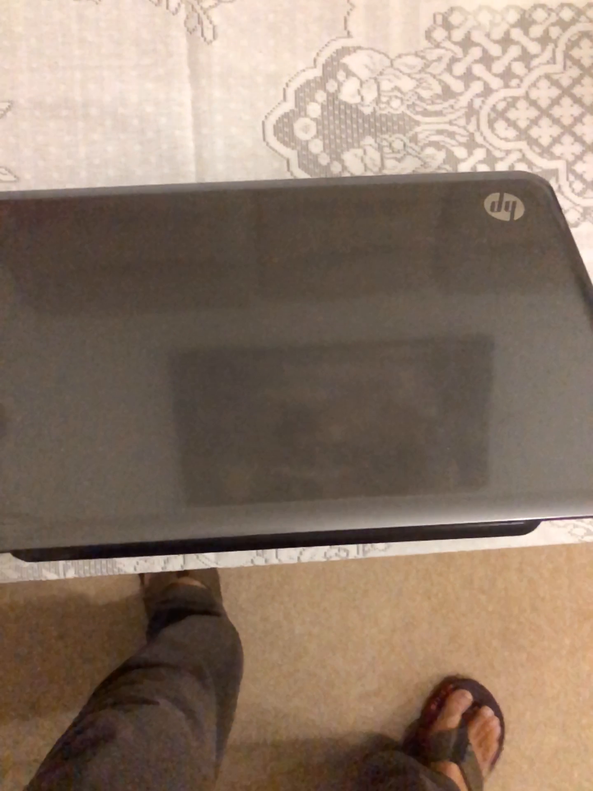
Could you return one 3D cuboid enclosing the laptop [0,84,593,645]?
[{"bbox_3d":[-0.017,-0.015,0.362,0.360,0.140,0.237,-3,94,-1],"label":"laptop"}]
